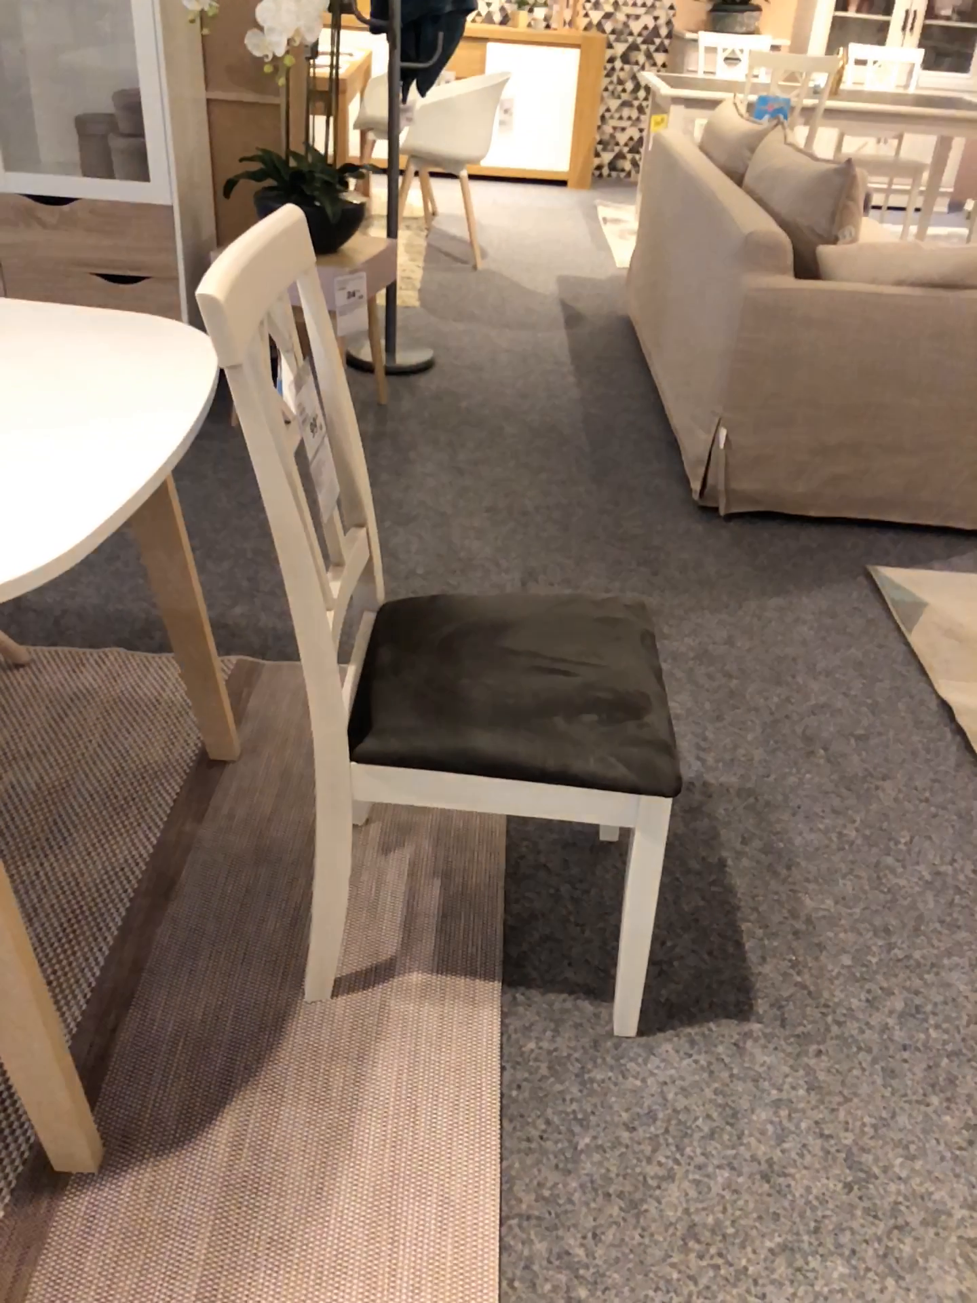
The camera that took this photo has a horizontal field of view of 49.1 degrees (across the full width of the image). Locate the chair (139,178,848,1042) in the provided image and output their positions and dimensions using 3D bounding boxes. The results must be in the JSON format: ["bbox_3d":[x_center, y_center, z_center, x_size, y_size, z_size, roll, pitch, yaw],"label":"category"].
[{"bbox_3d":[-0.017,-0.045,1.285,0.560,0.855,0.513,4,32,-1],"label":"chair"}]
